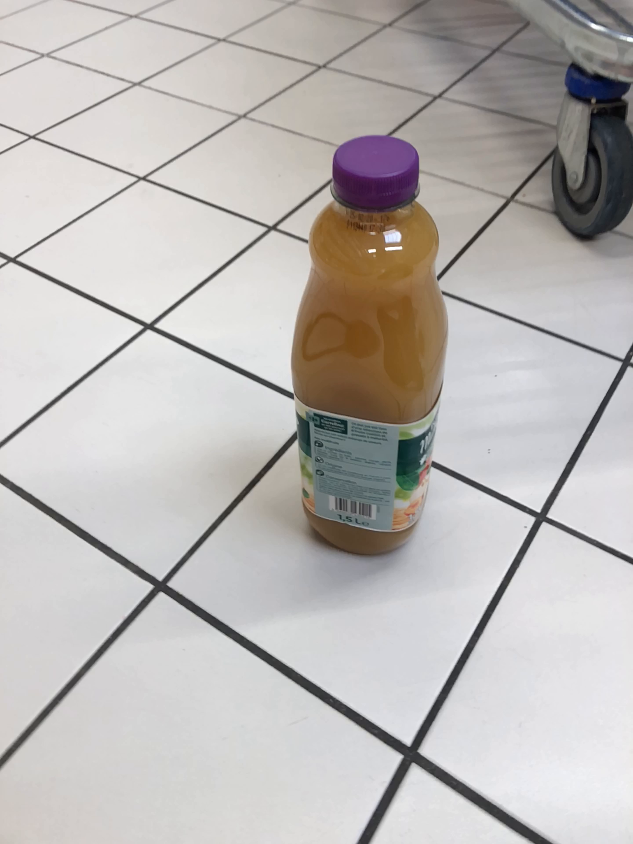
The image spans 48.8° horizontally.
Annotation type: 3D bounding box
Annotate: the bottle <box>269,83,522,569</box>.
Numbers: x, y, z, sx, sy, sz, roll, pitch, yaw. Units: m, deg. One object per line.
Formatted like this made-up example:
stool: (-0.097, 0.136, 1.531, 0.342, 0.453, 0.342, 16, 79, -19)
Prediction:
bottle: (0.044, -0.038, 0.425, 0.100, 0.278, 0.101, -1, 47, 1)
